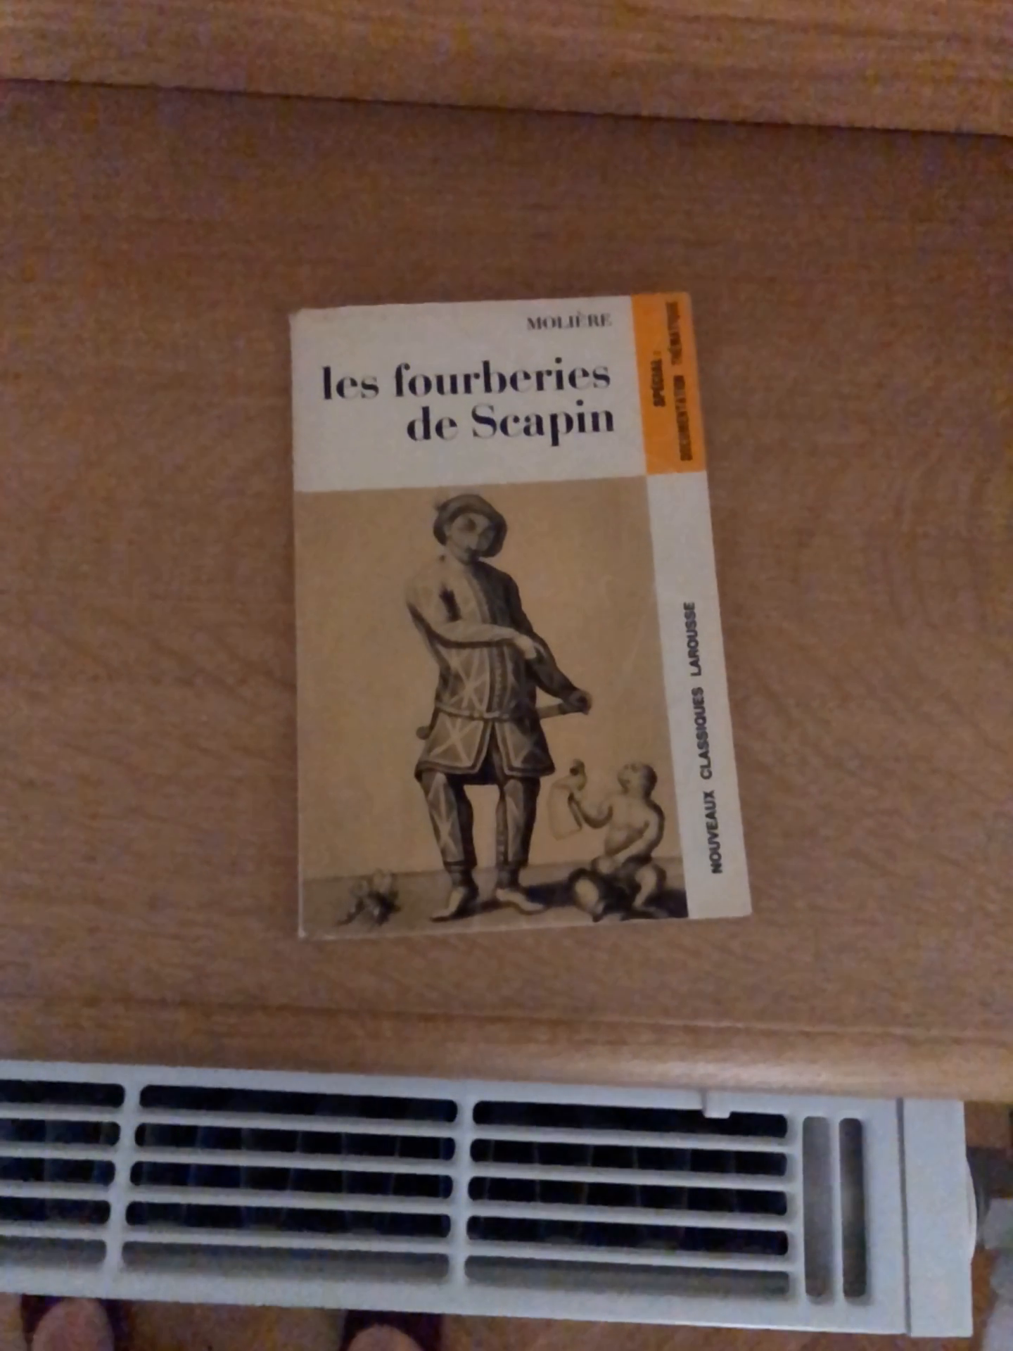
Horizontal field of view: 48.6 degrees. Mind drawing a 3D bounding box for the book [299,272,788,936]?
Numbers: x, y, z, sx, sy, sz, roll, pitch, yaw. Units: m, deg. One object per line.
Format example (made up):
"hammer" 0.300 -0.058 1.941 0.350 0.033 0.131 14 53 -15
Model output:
"book" 0.006 -0.023 0.300 0.117 0.015 0.174 -3 77 -2
